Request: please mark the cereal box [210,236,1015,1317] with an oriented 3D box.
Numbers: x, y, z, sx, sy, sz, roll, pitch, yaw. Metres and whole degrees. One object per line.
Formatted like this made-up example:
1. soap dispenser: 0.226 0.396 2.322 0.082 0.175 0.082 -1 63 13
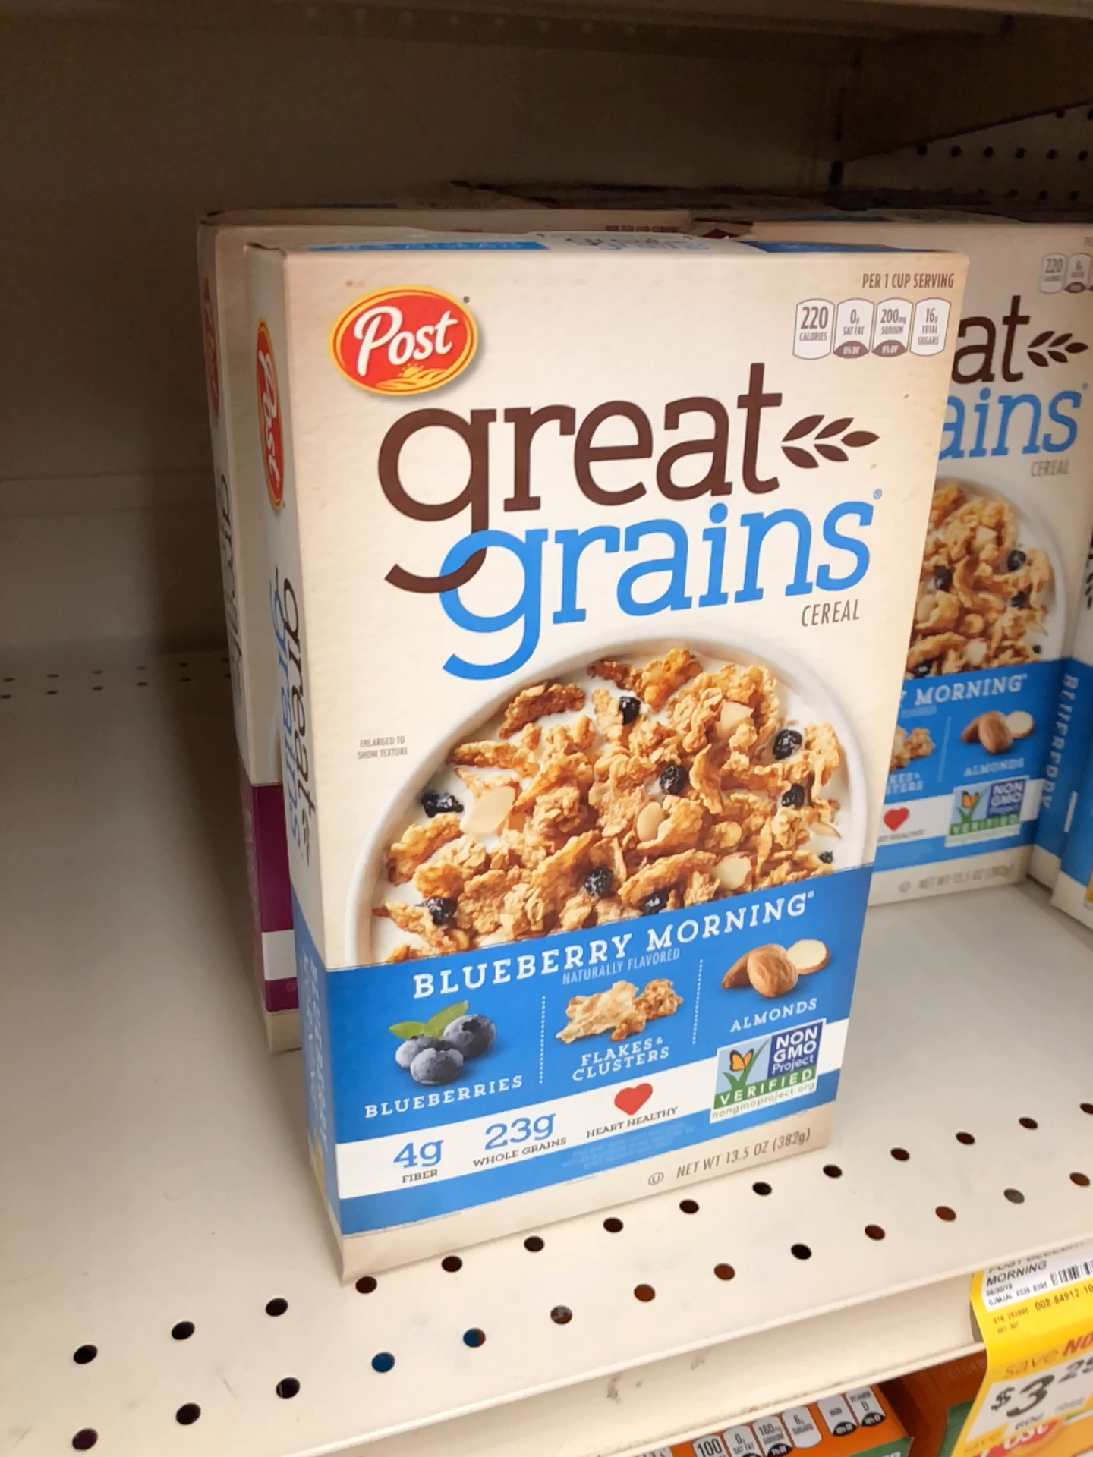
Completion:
1. cereal box: 0.014 0.014 0.341 0.180 0.279 0.060 -8 25 -19
